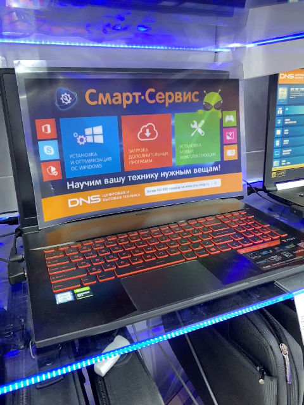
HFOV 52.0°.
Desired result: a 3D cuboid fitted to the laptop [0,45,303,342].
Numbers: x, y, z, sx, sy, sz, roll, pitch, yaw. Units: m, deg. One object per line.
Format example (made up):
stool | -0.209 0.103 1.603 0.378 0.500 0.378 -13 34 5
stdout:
laptop | 0.026 -0.062 0.436 0.404 0.237 0.288 -8 22 -22
